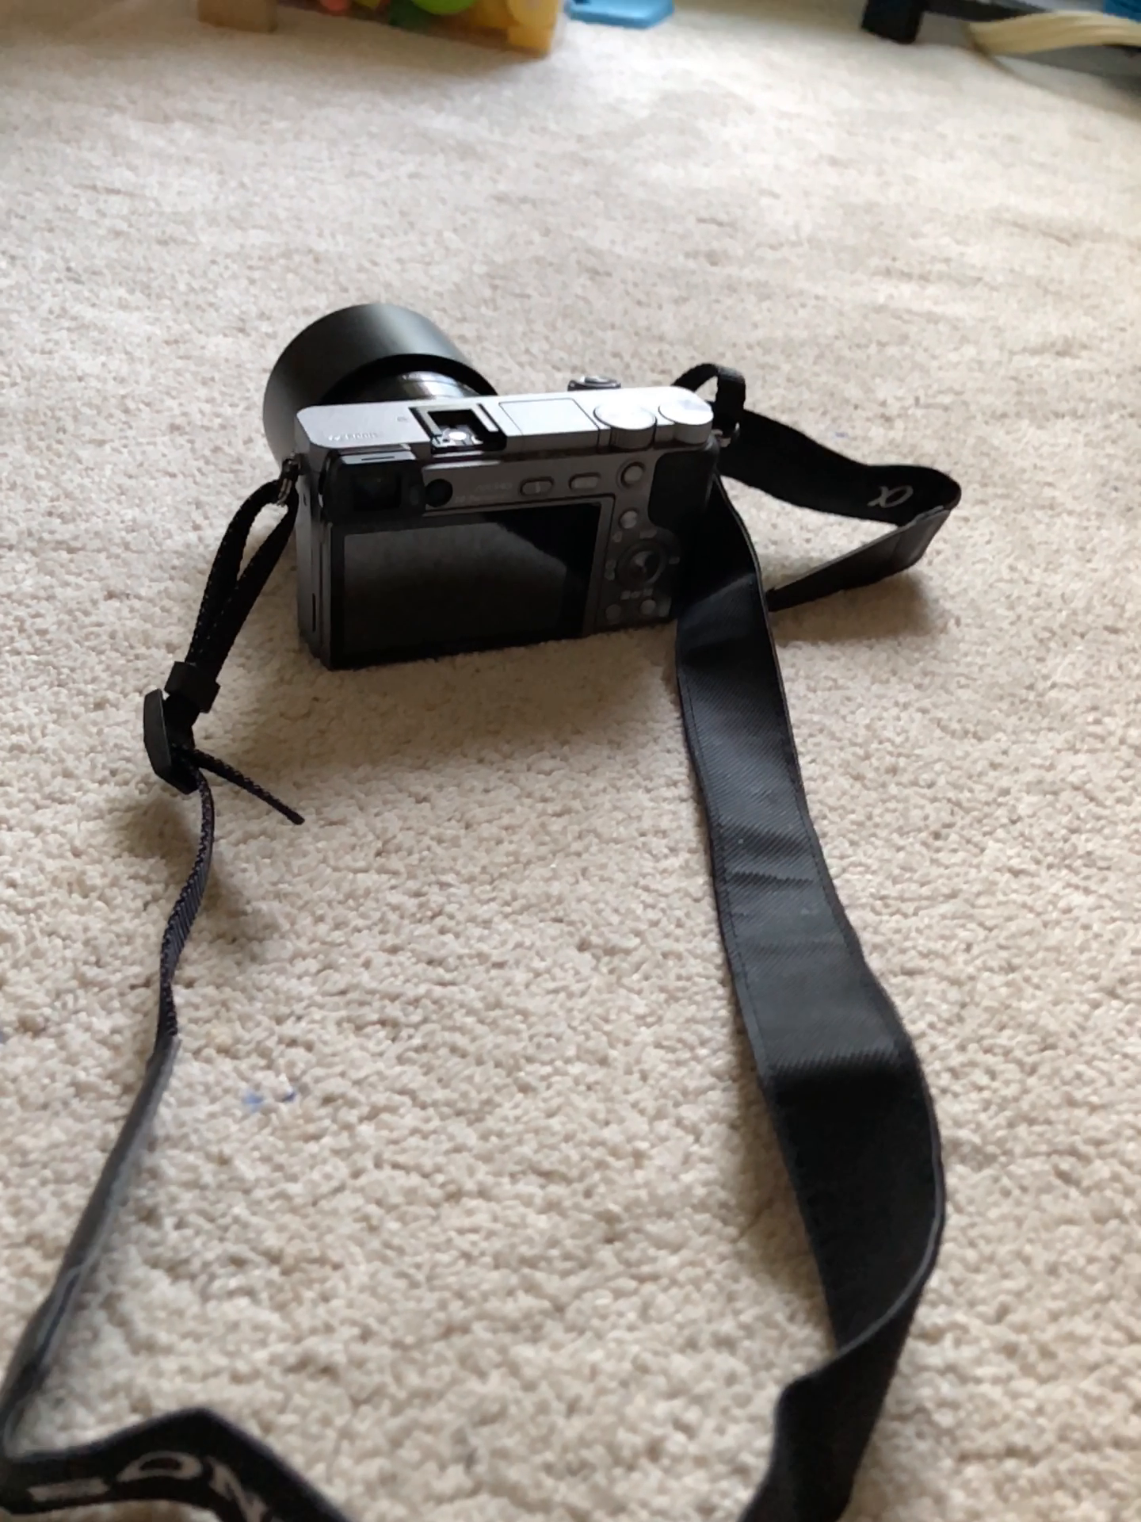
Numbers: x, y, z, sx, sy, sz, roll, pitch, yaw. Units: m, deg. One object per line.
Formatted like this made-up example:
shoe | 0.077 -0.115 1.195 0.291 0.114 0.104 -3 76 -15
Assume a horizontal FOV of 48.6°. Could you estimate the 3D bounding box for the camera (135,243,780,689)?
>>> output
camera | -0.037 -0.091 0.355 0.140 0.070 0.110 -11 43 -24
